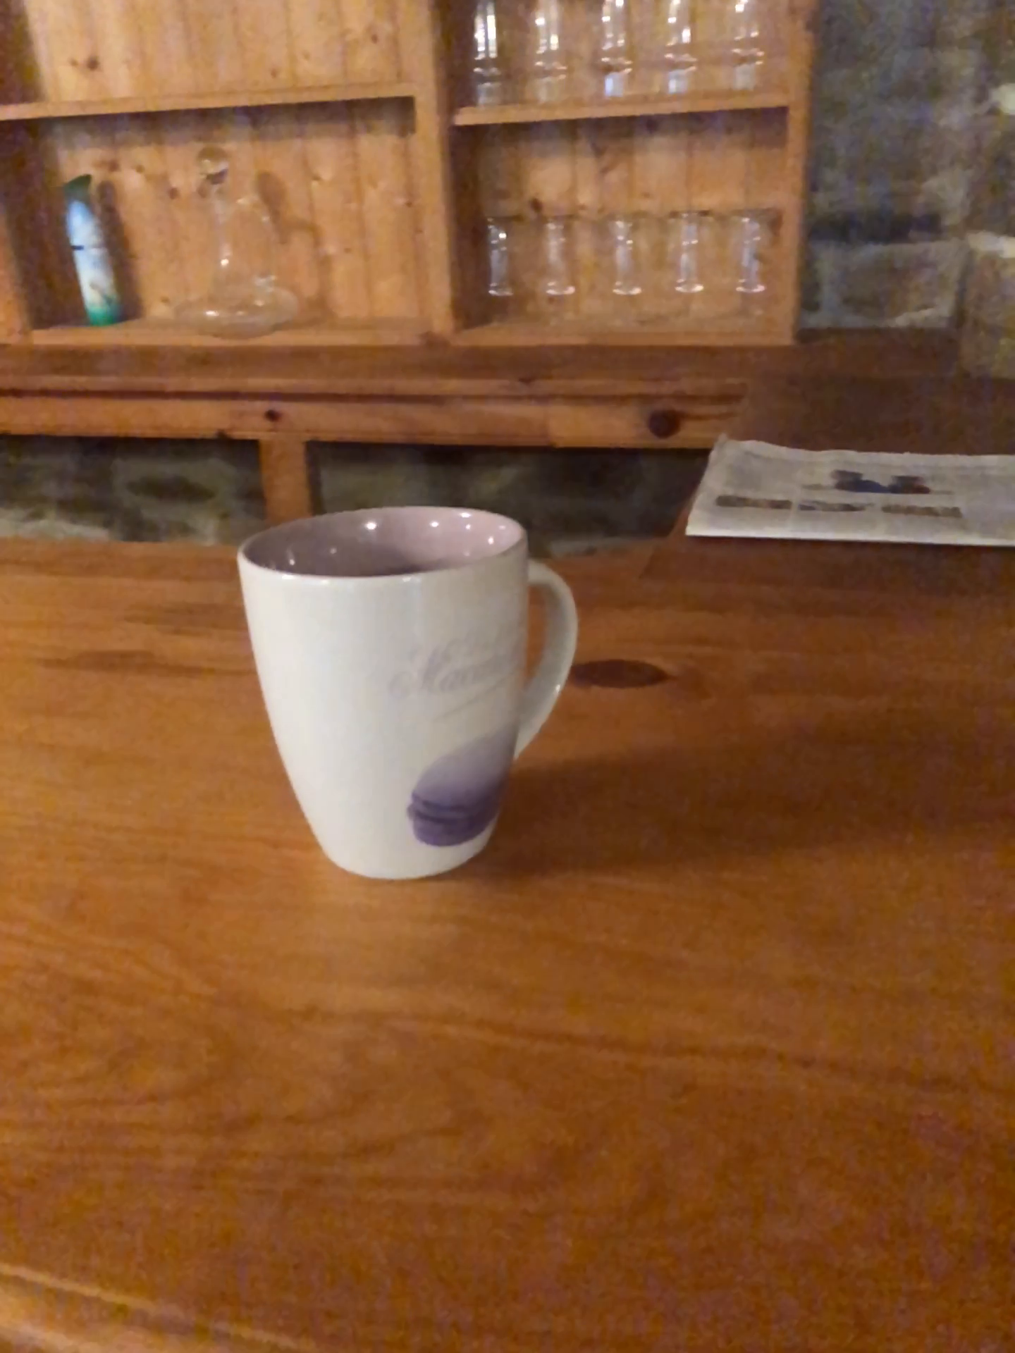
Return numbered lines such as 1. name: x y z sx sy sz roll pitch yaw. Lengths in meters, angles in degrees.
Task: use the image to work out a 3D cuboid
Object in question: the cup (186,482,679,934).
1. cup: -0.022 -0.001 0.369 0.120 0.095 0.100 -20 29 -39
